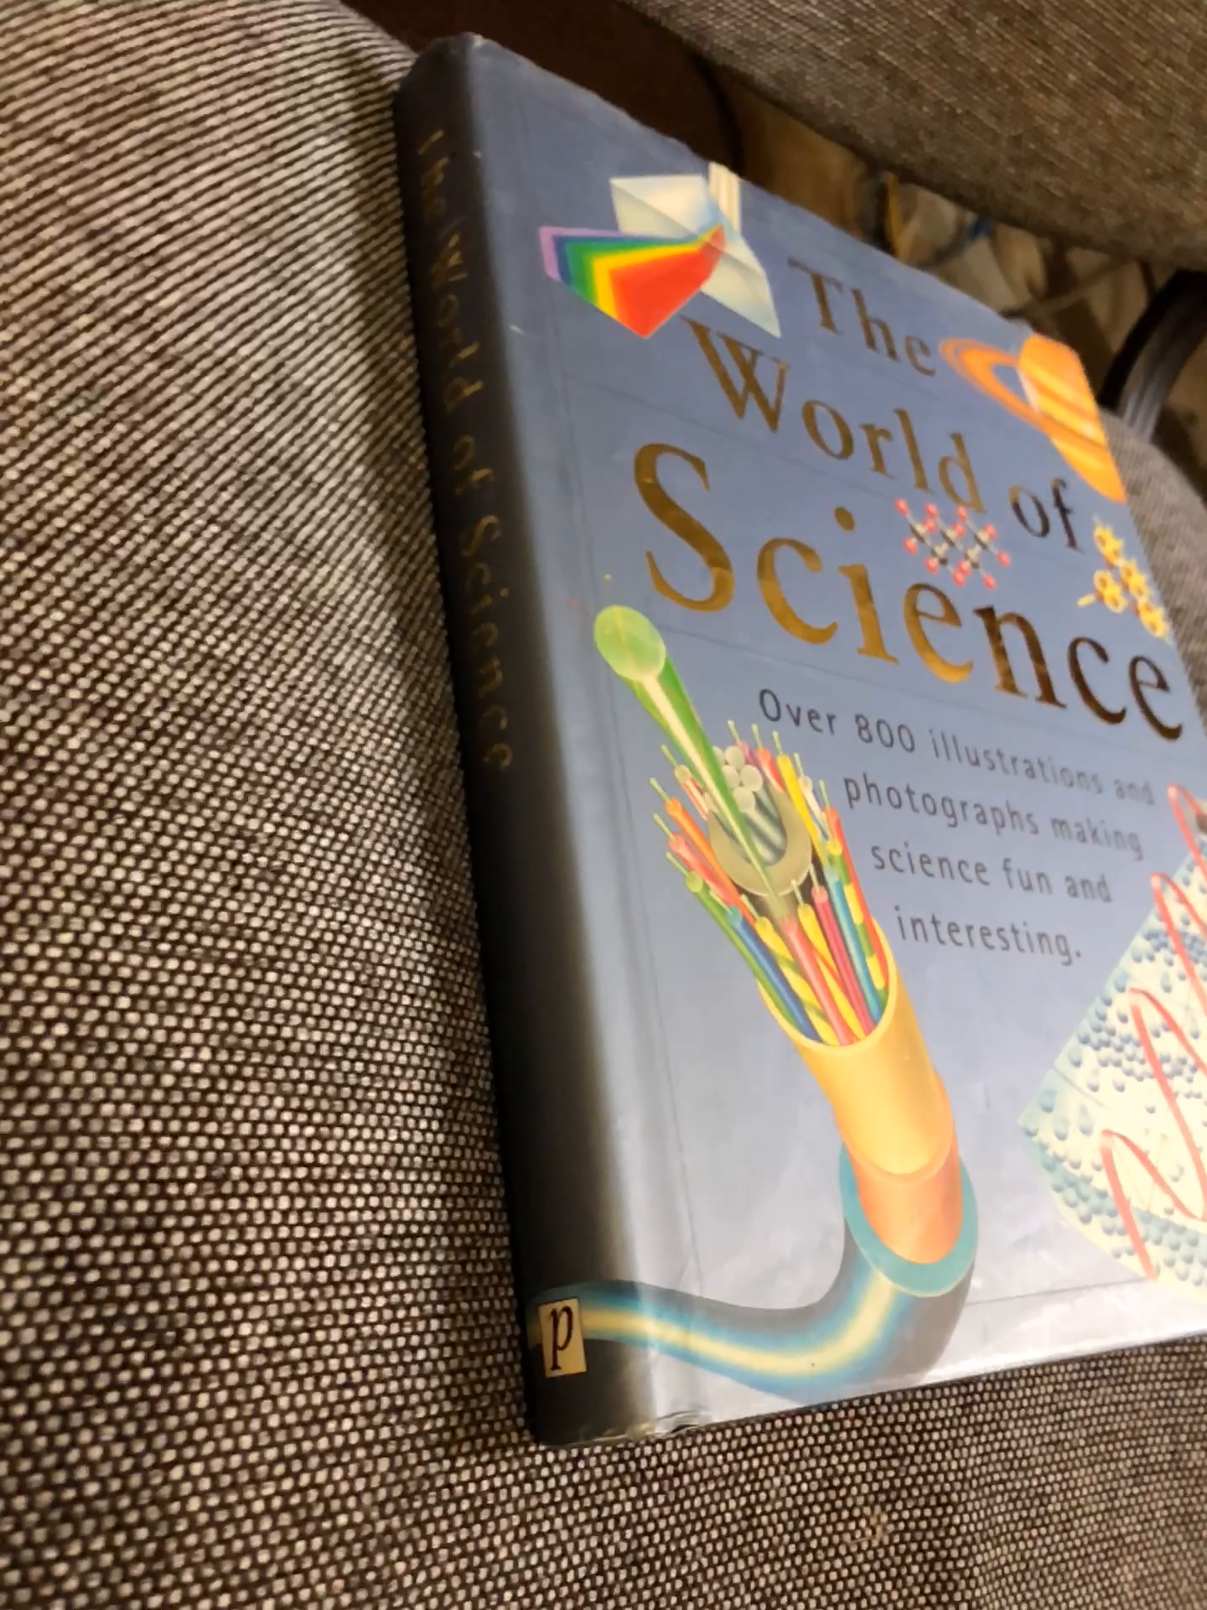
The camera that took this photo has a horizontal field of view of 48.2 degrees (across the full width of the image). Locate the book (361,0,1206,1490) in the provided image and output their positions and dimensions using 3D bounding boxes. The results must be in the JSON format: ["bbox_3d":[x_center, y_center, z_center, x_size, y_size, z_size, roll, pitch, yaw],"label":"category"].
[{"bbox_3d":[0.064,-0.023,0.299,0.221,0.030,0.276,8,63,-36],"label":"book"}]
